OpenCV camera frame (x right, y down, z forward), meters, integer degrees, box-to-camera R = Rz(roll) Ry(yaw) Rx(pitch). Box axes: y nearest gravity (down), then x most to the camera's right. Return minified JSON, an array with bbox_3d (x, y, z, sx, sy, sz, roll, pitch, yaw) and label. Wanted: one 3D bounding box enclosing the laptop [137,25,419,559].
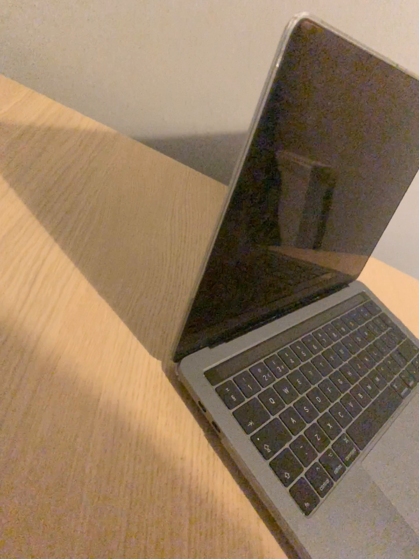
[{"bbox_3d":[0.167,0.020,0.311,0.295,0.197,0.257,-15,58,-48],"label":"laptop"}]
